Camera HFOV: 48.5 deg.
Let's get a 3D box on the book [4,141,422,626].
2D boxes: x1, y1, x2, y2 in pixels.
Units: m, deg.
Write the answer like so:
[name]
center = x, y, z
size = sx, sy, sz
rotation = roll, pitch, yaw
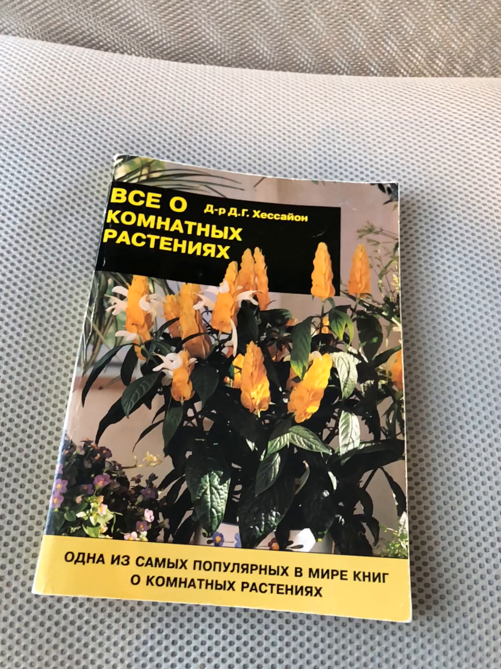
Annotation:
[book]
center = -0.007, 0.012, 0.283
size = 0.170, 0.030, 0.231
rotation = 5, 68, -3
